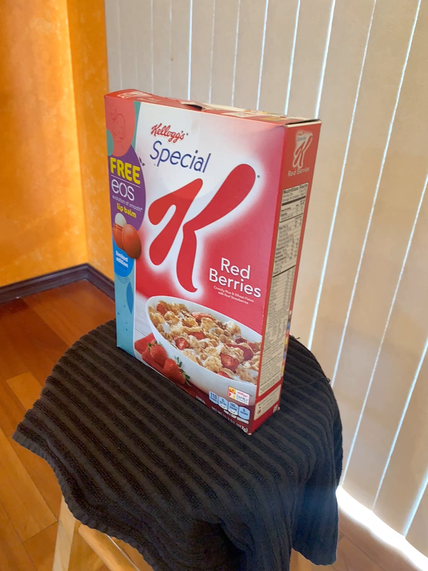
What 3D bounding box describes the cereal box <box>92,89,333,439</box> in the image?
[{"bbox_3d":[-0.021,-0.026,0.410,0.211,0.268,0.050,25,34,34],"label":"cereal box"}]
